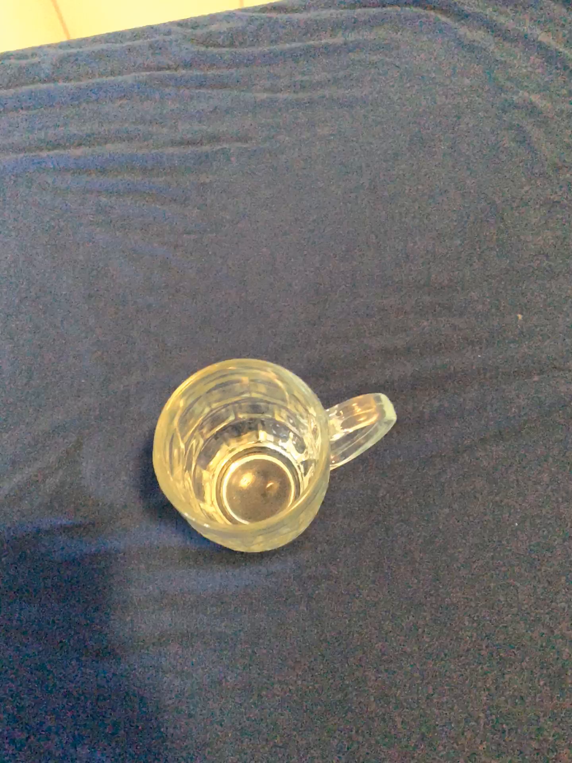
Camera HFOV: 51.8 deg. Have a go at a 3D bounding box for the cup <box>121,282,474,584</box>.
[{"bbox_3d":[0.004,0.032,0.286,0.120,0.110,0.080,-20,68,-6],"label":"cup"}]
